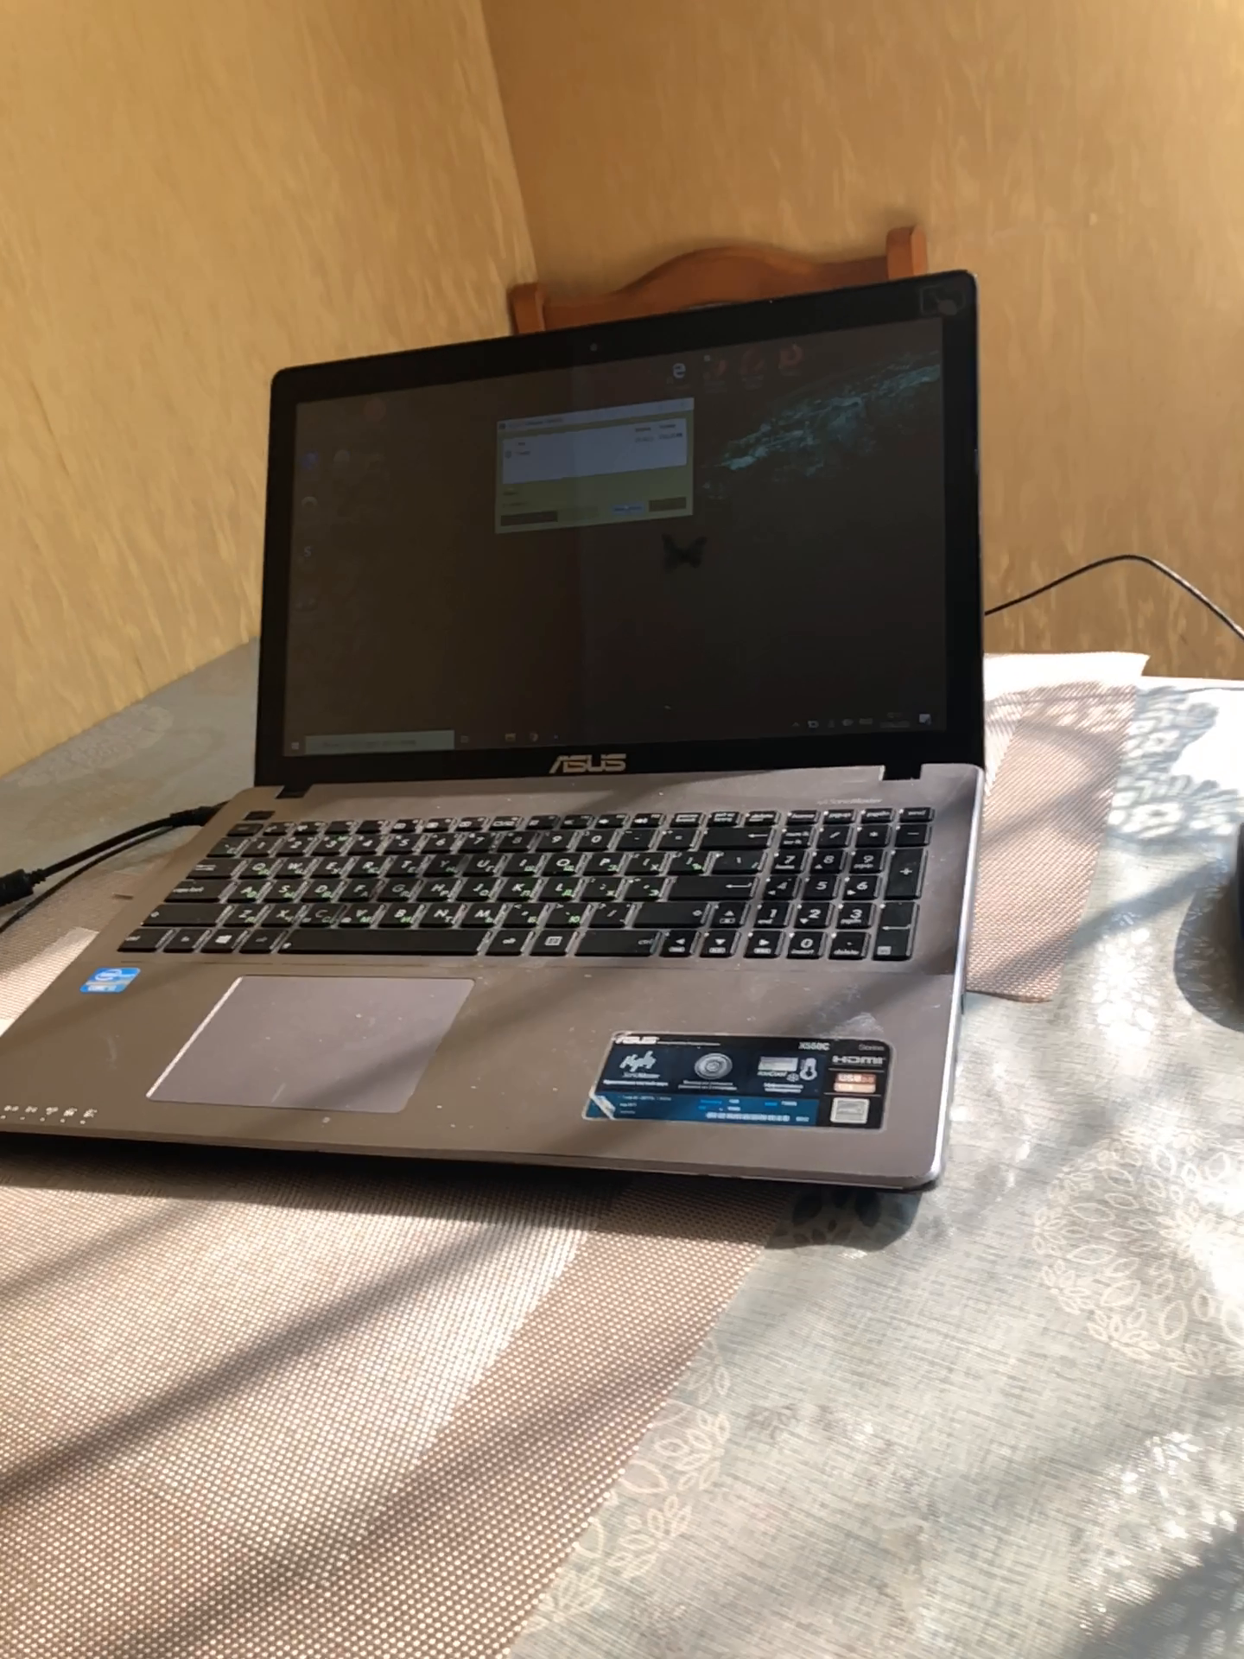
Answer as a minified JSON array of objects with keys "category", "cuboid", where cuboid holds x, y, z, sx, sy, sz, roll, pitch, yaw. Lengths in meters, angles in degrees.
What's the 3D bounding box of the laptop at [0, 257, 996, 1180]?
[{"category":"laptop","cuboid":[-0.051,-0.079,0.583,0.378,0.183,0.399,-1,31,19]}]
